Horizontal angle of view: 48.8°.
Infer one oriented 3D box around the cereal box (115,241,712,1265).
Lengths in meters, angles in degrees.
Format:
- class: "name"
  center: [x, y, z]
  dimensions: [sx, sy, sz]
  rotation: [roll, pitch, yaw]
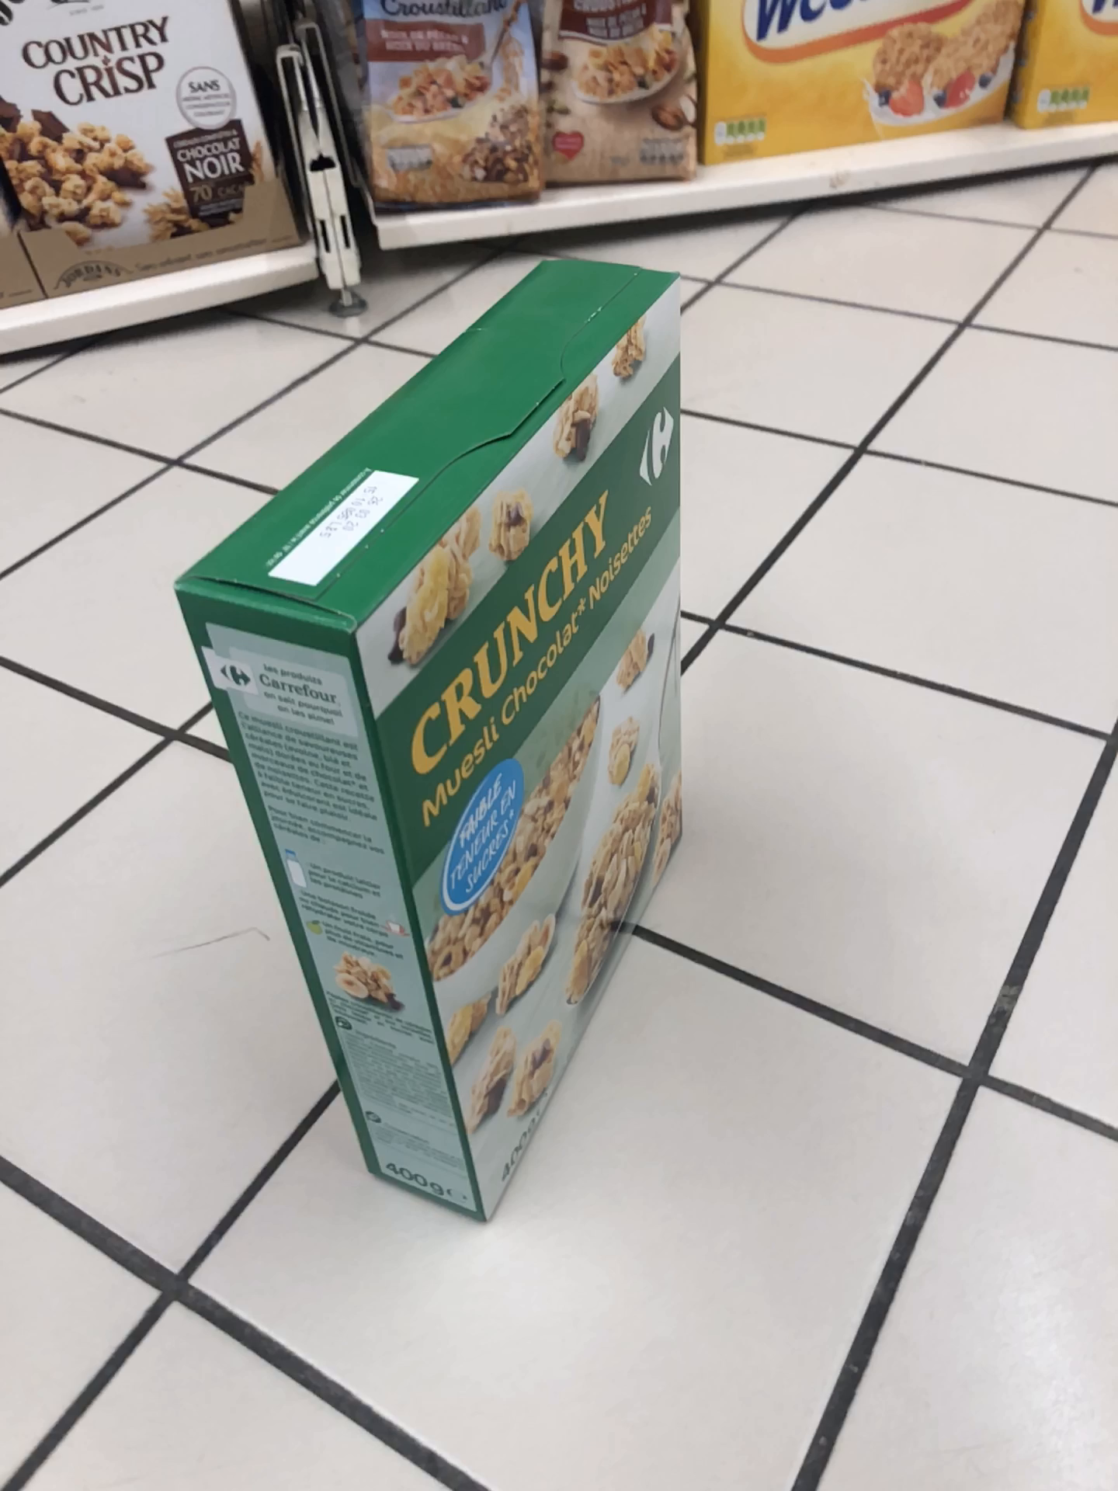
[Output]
- class: "cereal box"
  center: [-0.014, 0.005, 0.391]
  dimensions: [0.060, 0.248, 0.201]
  rotation: [14, 45, 20]
